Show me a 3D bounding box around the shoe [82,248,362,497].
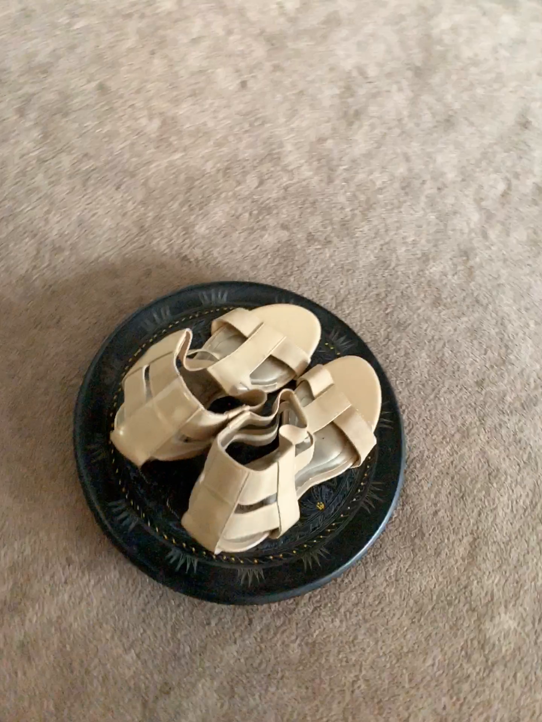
[{"bbox_3d":[-0.034,-0.001,0.473,0.090,0.089,0.221,45,48,12],"label":"shoe"}]

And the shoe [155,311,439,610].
[{"bbox_3d":[0.029,0.065,0.456,0.100,0.089,0.231,37,46,16],"label":"shoe"}]
